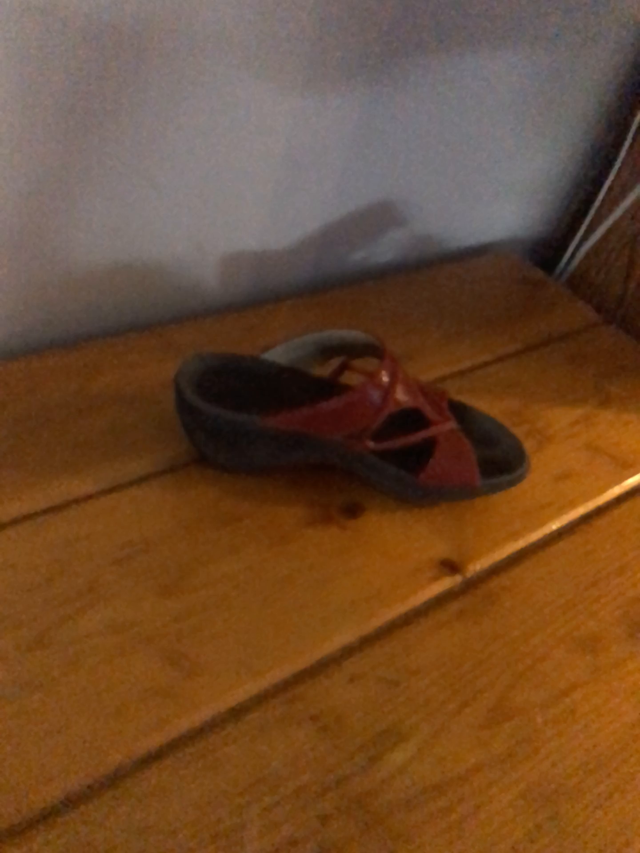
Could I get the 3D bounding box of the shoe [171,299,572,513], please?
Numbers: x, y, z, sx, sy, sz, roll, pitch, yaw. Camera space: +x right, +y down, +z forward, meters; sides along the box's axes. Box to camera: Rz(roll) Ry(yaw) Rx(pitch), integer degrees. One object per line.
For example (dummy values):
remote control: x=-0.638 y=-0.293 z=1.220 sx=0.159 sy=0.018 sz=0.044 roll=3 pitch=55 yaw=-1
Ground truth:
shoe: x=0.031 y=-0.013 z=0.499 sx=0.250 sy=0.070 sz=0.100 roll=7 pitch=43 yaw=-10
